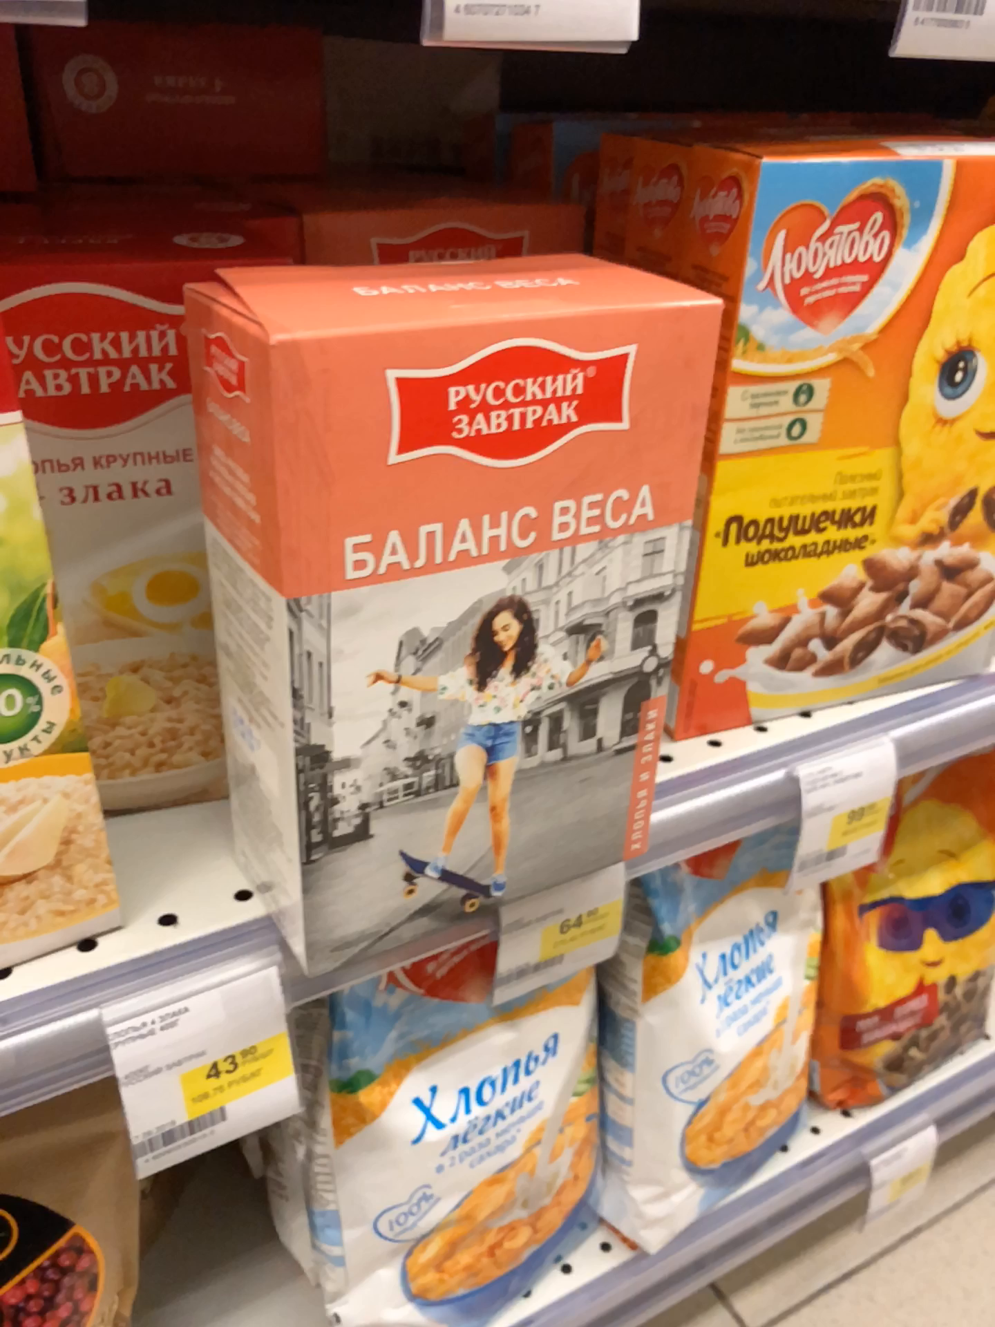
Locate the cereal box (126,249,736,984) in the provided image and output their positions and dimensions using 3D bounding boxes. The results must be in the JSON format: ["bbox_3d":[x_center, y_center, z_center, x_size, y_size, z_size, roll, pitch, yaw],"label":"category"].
[{"bbox_3d":[-0.019,-0.019,0.327,0.140,0.179,0.070,-15,33,-28],"label":"cereal box"}]
